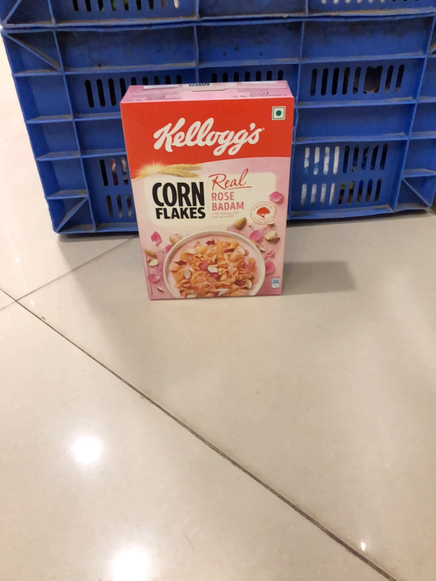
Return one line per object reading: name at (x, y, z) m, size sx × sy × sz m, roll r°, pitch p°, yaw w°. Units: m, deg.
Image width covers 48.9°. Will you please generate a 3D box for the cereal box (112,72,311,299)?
cereal box at (-0.004, -0.117, 0.587) m, size 0.200 × 0.258 × 0.070 m, roll -3°, pitch 37°, yaw -1°
